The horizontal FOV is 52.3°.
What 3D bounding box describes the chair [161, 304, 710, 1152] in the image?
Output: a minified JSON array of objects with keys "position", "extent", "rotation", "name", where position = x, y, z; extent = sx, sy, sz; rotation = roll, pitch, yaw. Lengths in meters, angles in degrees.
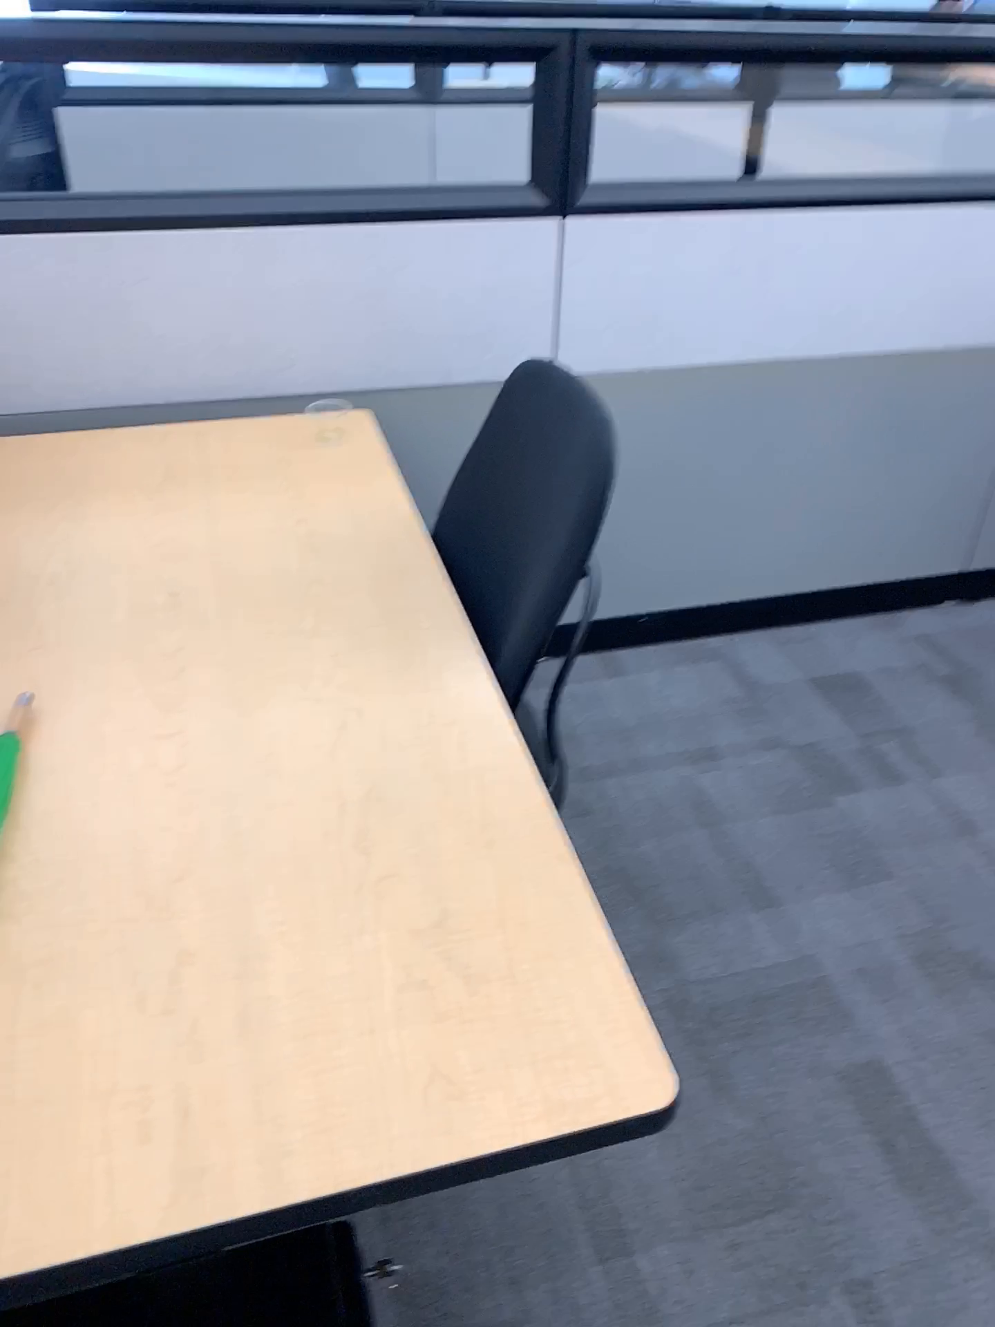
[{"position":[-0.141,0.074,1.526],"extent":[0.510,0.994,0.674],"rotation":[-10,36,-16],"name":"chair"}]
